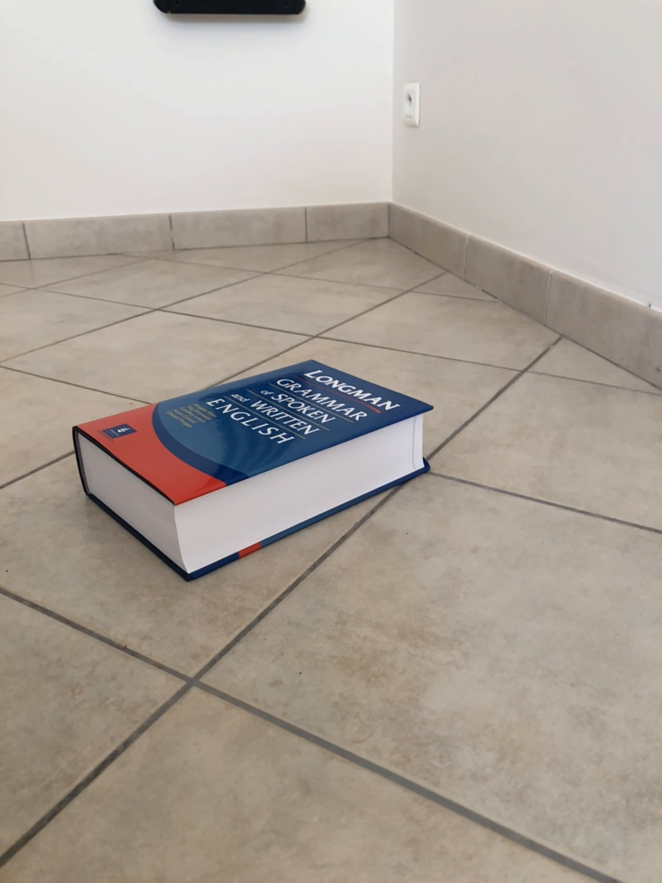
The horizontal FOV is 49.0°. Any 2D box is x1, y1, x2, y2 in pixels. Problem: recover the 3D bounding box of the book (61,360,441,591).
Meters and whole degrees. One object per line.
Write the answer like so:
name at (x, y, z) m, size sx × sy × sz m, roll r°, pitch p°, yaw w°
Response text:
book at (-0.061, 0.009, 0.601) m, size 0.251 × 0.060 × 0.177 m, roll -20°, pitch 31°, yaw -36°
